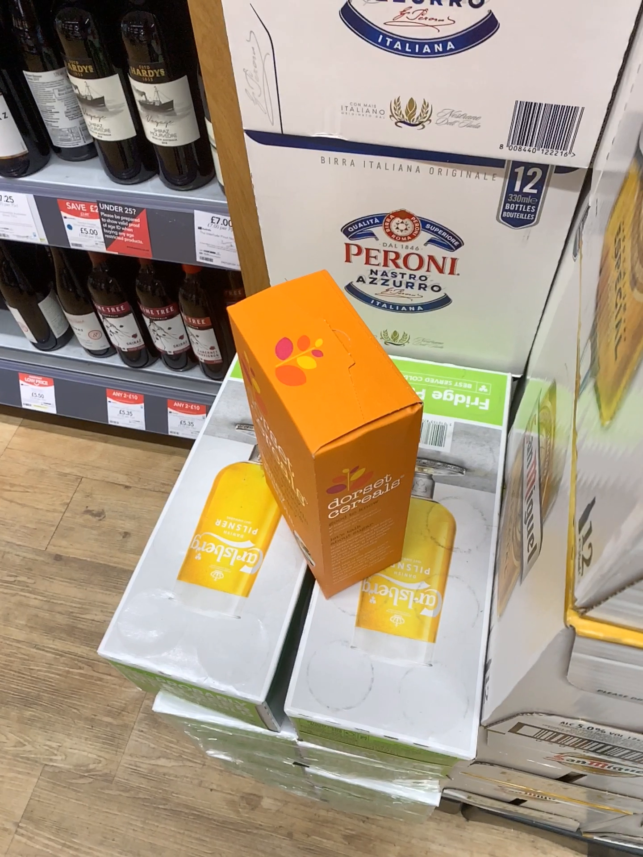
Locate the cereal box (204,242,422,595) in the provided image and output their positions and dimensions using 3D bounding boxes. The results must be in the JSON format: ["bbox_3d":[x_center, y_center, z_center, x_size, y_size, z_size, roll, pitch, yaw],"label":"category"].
[{"bbox_3d":[-0.004,0.005,0.426,0.070,0.198,0.121,-23,57,-12],"label":"cereal box"}]
